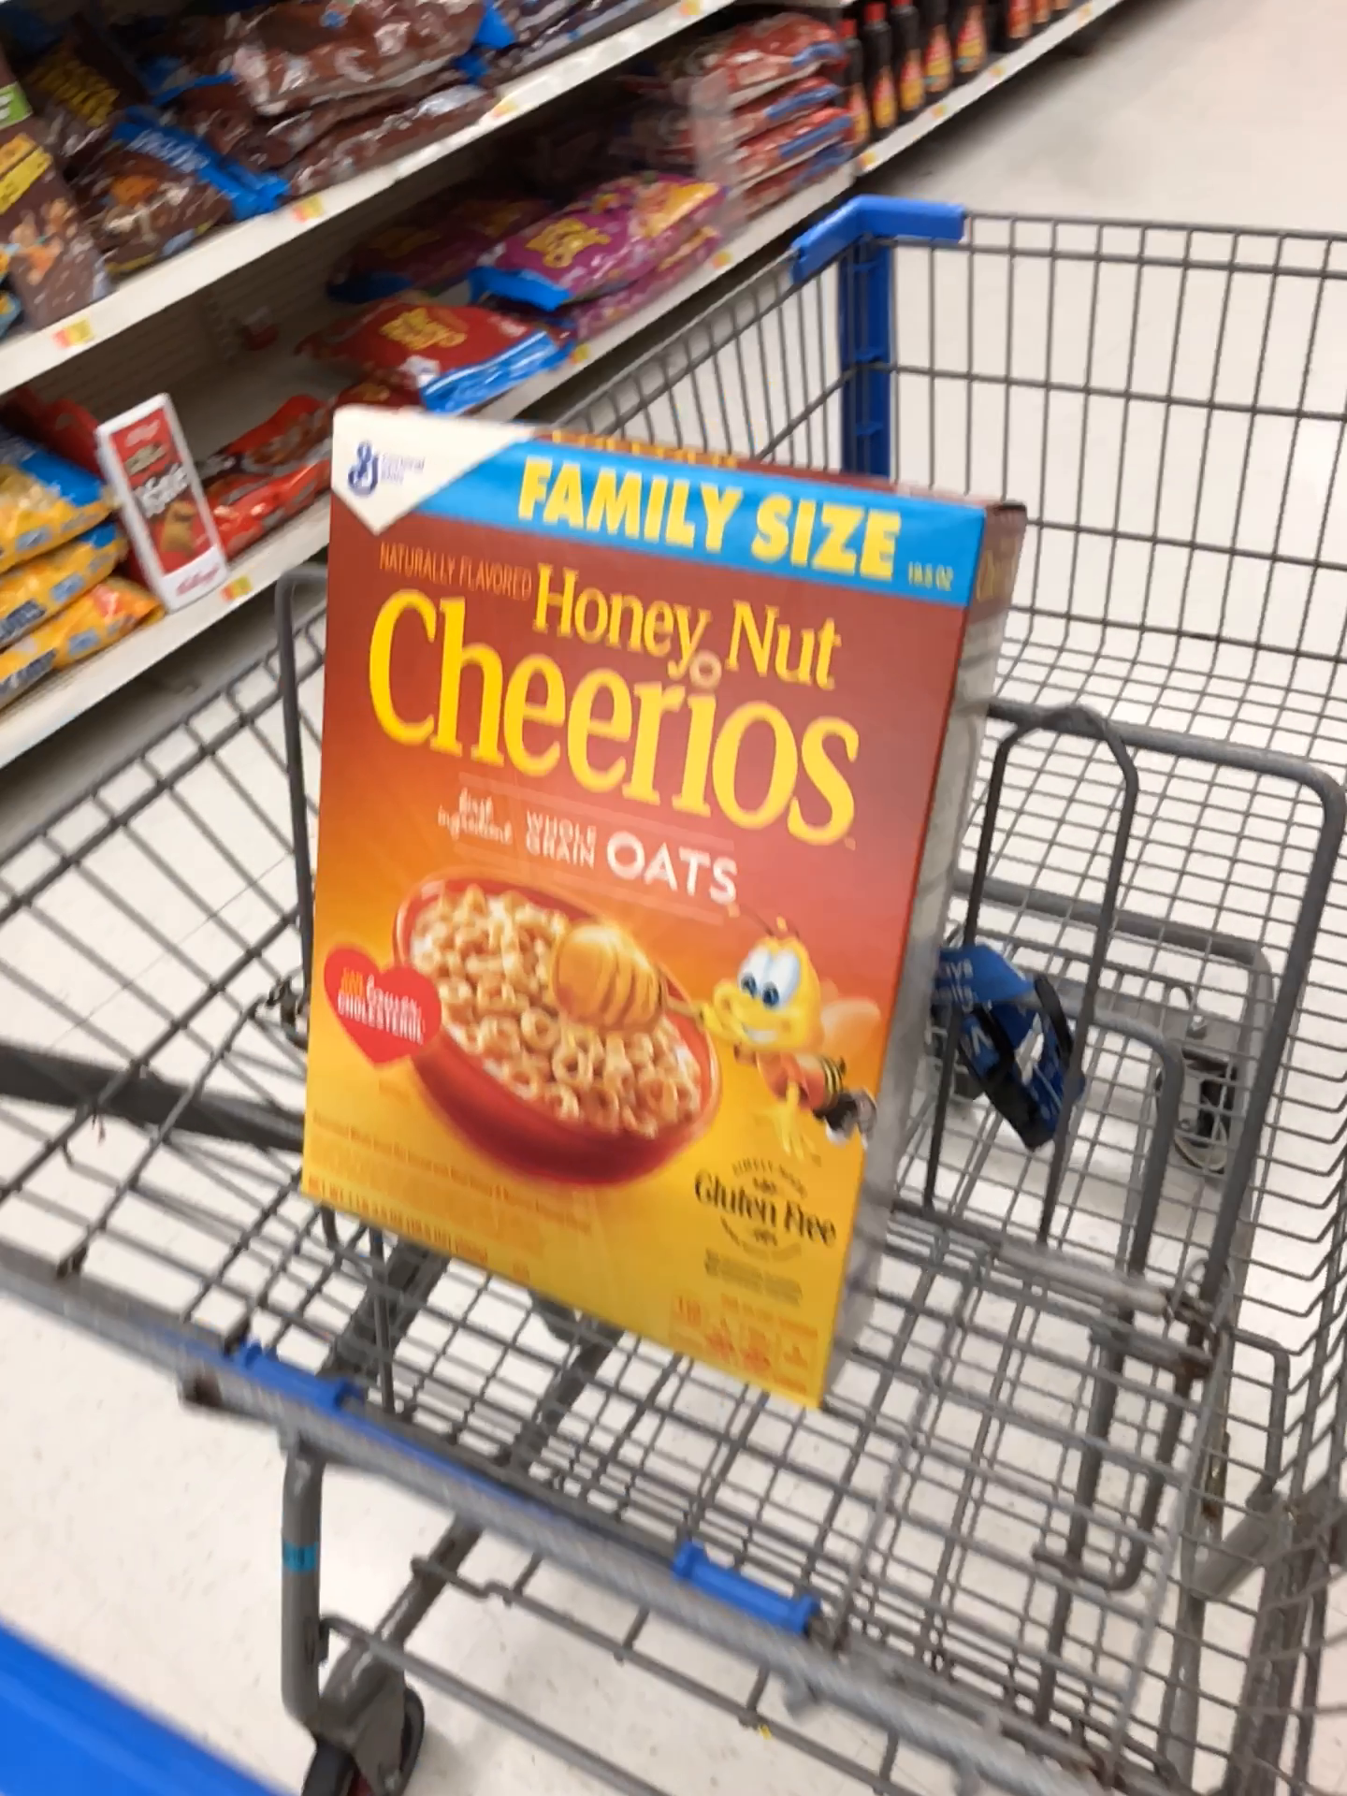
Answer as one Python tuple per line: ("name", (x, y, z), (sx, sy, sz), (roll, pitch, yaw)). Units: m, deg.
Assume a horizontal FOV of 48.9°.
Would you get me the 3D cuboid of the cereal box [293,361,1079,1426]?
("cereal box", (-0.016, -0.009, 0.546), (0.250, 0.330, 0.070), (16, 21, 24))
